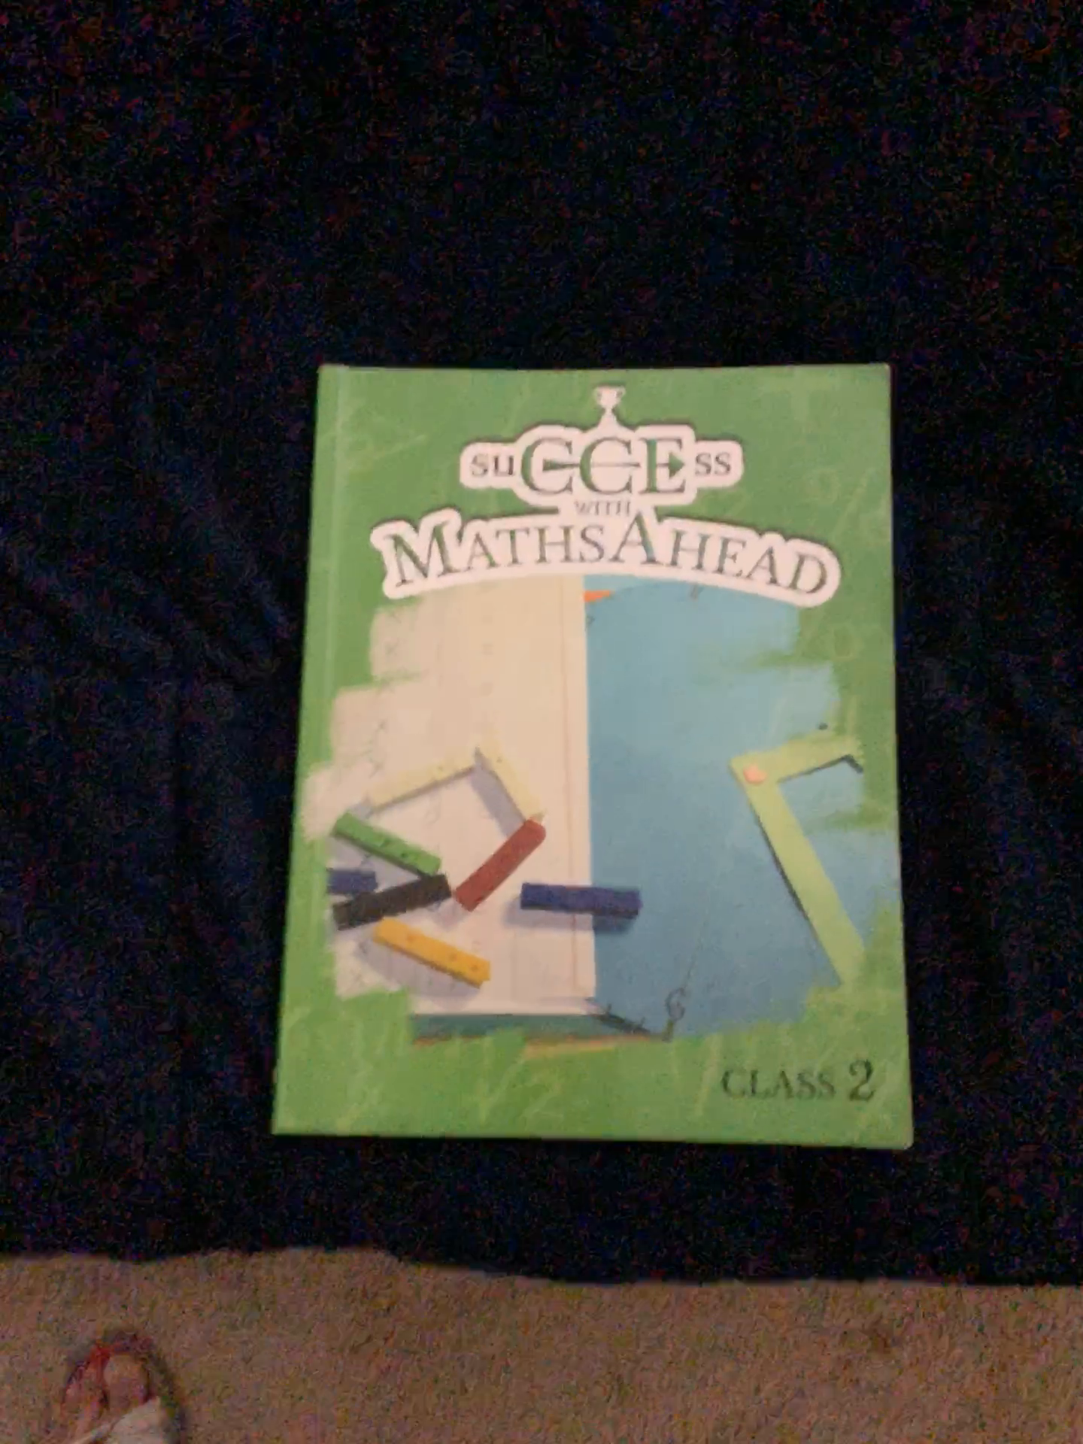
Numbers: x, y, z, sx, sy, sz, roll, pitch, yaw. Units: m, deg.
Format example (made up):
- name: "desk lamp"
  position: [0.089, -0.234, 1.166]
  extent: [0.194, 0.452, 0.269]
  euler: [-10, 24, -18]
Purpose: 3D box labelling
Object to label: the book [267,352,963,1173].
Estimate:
- name: "book"
  position: [0.027, 0.007, 0.393]
  extent: [0.230, 0.020, 0.280]
  euler: [1, 83, 2]
